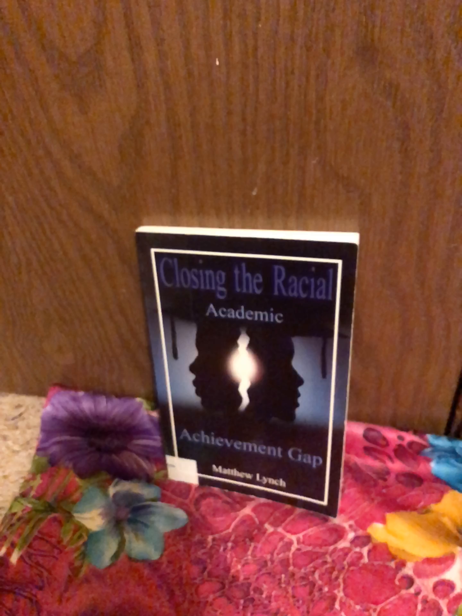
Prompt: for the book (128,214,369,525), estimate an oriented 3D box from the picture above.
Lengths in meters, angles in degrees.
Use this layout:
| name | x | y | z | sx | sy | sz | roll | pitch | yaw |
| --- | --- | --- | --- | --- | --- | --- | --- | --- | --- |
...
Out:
| name | x | y | z | sx | sy | sz | roll | pitch | yaw |
| --- | --- | --- | --- | --- | --- | --- | --- | --- | --- |
| book | 0.015 | 0.051 | 0.378 | 0.146 | 0.229 | 0.036 | 6 | 30 | 16 |
